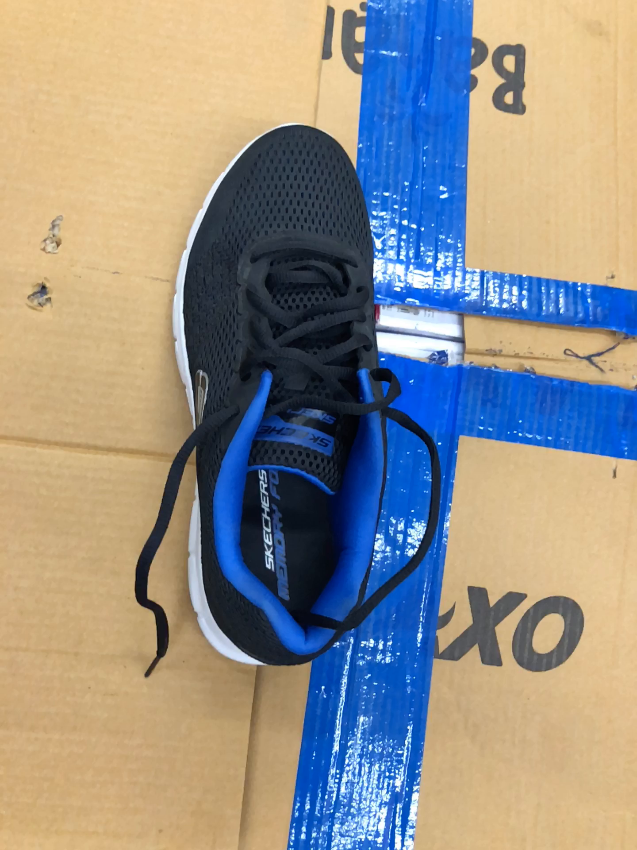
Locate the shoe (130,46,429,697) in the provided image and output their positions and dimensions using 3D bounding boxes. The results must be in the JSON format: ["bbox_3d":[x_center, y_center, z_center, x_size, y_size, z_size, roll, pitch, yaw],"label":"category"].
[{"bbox_3d":[-0.021,-0.019,0.360,0.110,0.130,0.270,4,82,-9],"label":"shoe"}]
